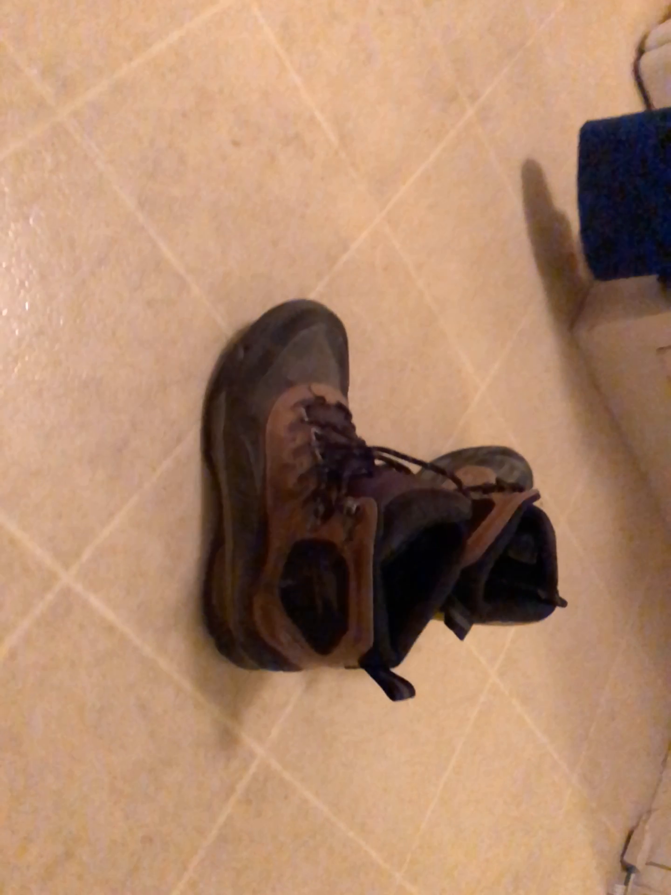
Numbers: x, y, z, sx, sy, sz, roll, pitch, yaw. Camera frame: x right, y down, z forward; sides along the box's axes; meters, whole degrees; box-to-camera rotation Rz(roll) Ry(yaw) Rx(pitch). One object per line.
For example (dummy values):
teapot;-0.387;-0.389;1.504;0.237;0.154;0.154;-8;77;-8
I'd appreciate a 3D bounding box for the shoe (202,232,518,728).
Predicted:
shoe;0.017;0.026;0.552;0.122;0.185;0.299;11;79;-43

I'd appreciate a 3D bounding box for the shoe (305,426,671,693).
shoe;0.151;0.081;0.675;0.294;0.185;0.113;-23;103;-42
